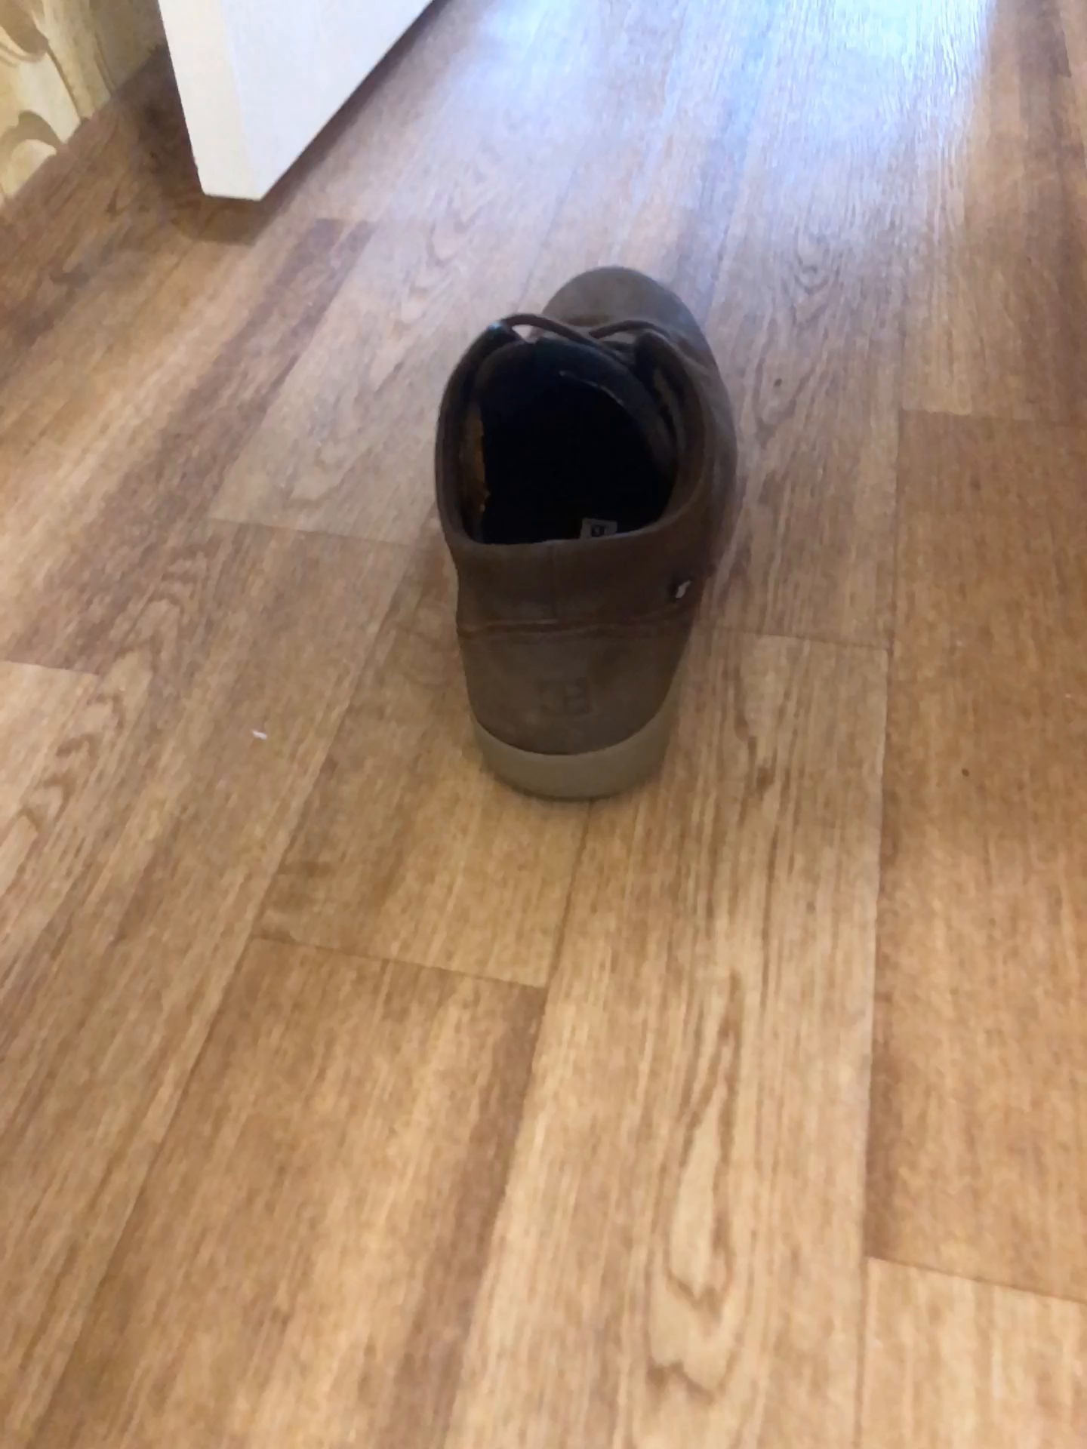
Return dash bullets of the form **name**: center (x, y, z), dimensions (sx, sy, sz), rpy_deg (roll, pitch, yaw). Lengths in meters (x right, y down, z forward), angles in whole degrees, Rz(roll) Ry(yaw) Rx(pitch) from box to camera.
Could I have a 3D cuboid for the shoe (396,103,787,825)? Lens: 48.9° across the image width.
- **shoe**: center (0.029, -0.110, 0.433), dimensions (0.100, 0.110, 0.271), rpy_deg (5, 50, 5)
